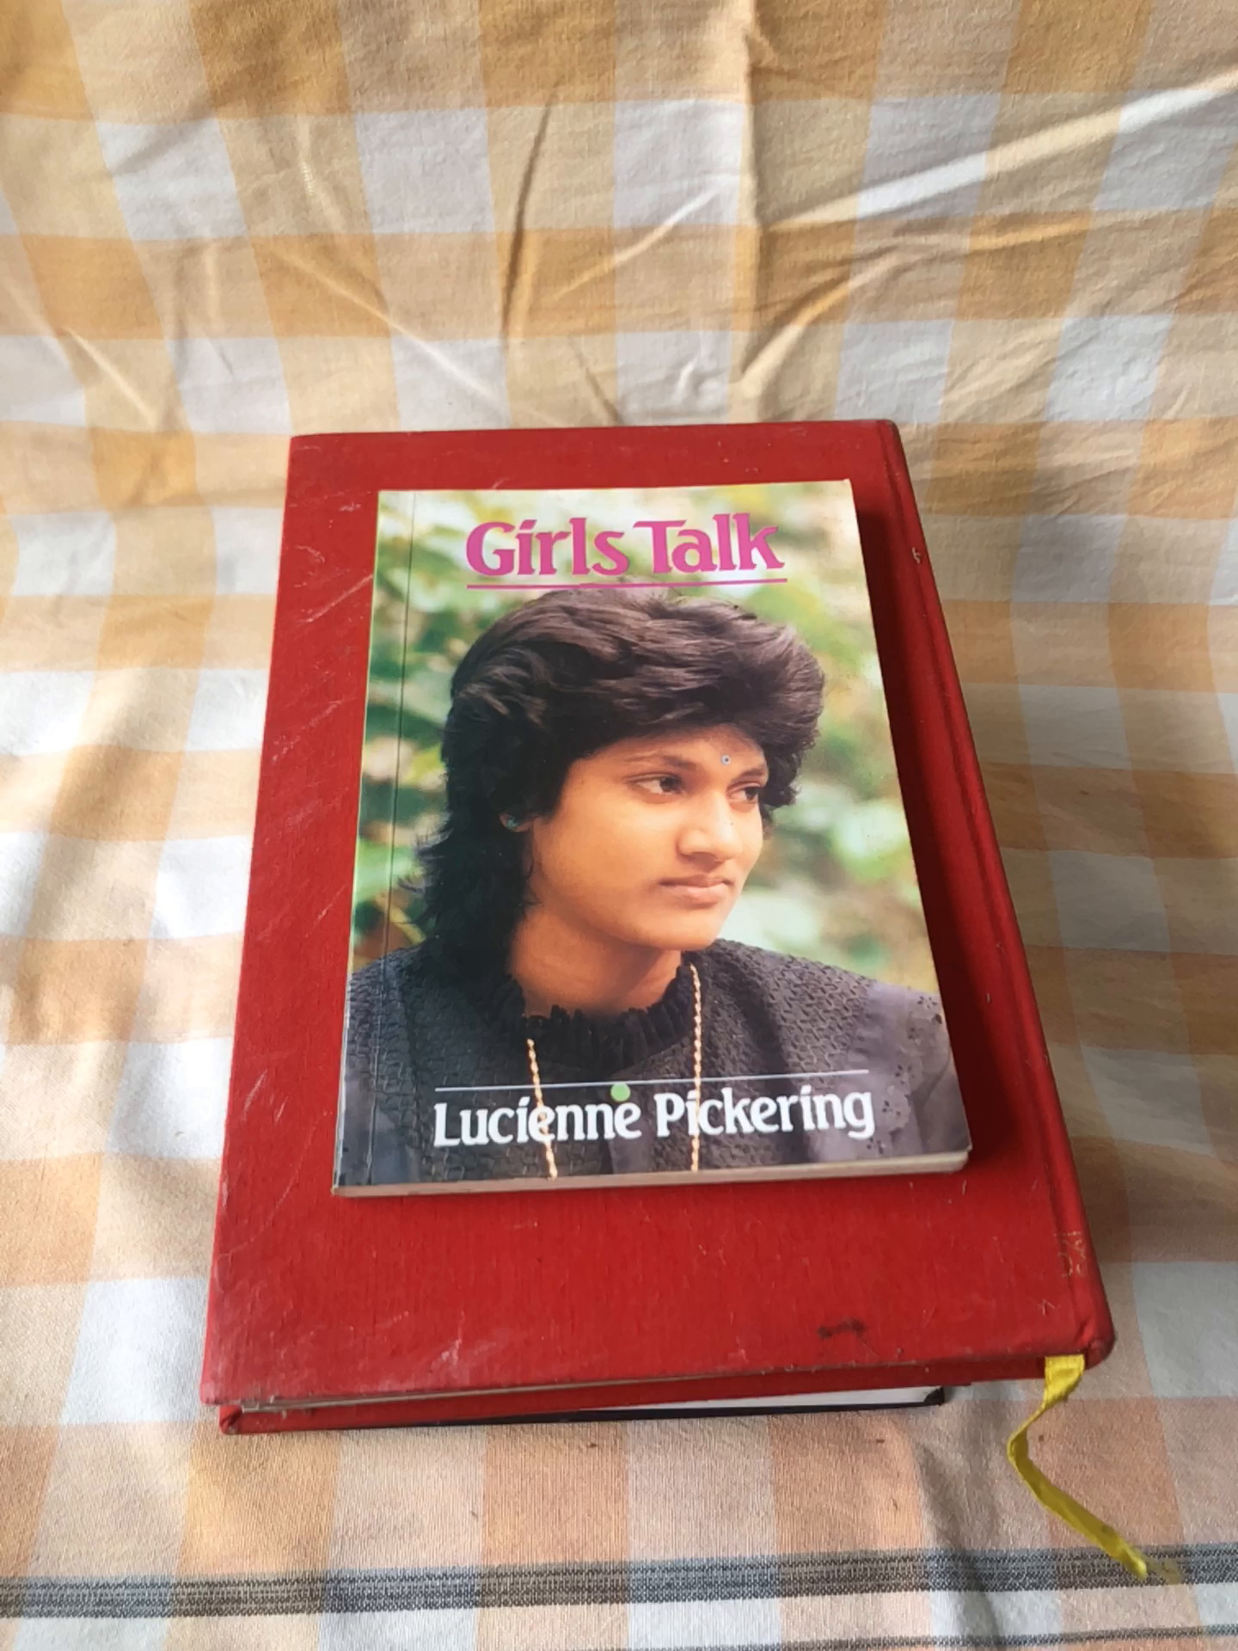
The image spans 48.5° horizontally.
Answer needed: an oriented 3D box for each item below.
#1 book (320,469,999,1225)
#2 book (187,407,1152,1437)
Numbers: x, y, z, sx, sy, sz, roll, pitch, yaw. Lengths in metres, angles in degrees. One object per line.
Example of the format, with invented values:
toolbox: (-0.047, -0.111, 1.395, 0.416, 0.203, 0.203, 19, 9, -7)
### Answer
book: (0.004, -0.005, 0.319, 0.130, 0.025, 0.182, -2, 60, -2)
book: (0.002, 0.001, 0.325, 0.174, 0.031, 0.249, -3, 58, -3)
